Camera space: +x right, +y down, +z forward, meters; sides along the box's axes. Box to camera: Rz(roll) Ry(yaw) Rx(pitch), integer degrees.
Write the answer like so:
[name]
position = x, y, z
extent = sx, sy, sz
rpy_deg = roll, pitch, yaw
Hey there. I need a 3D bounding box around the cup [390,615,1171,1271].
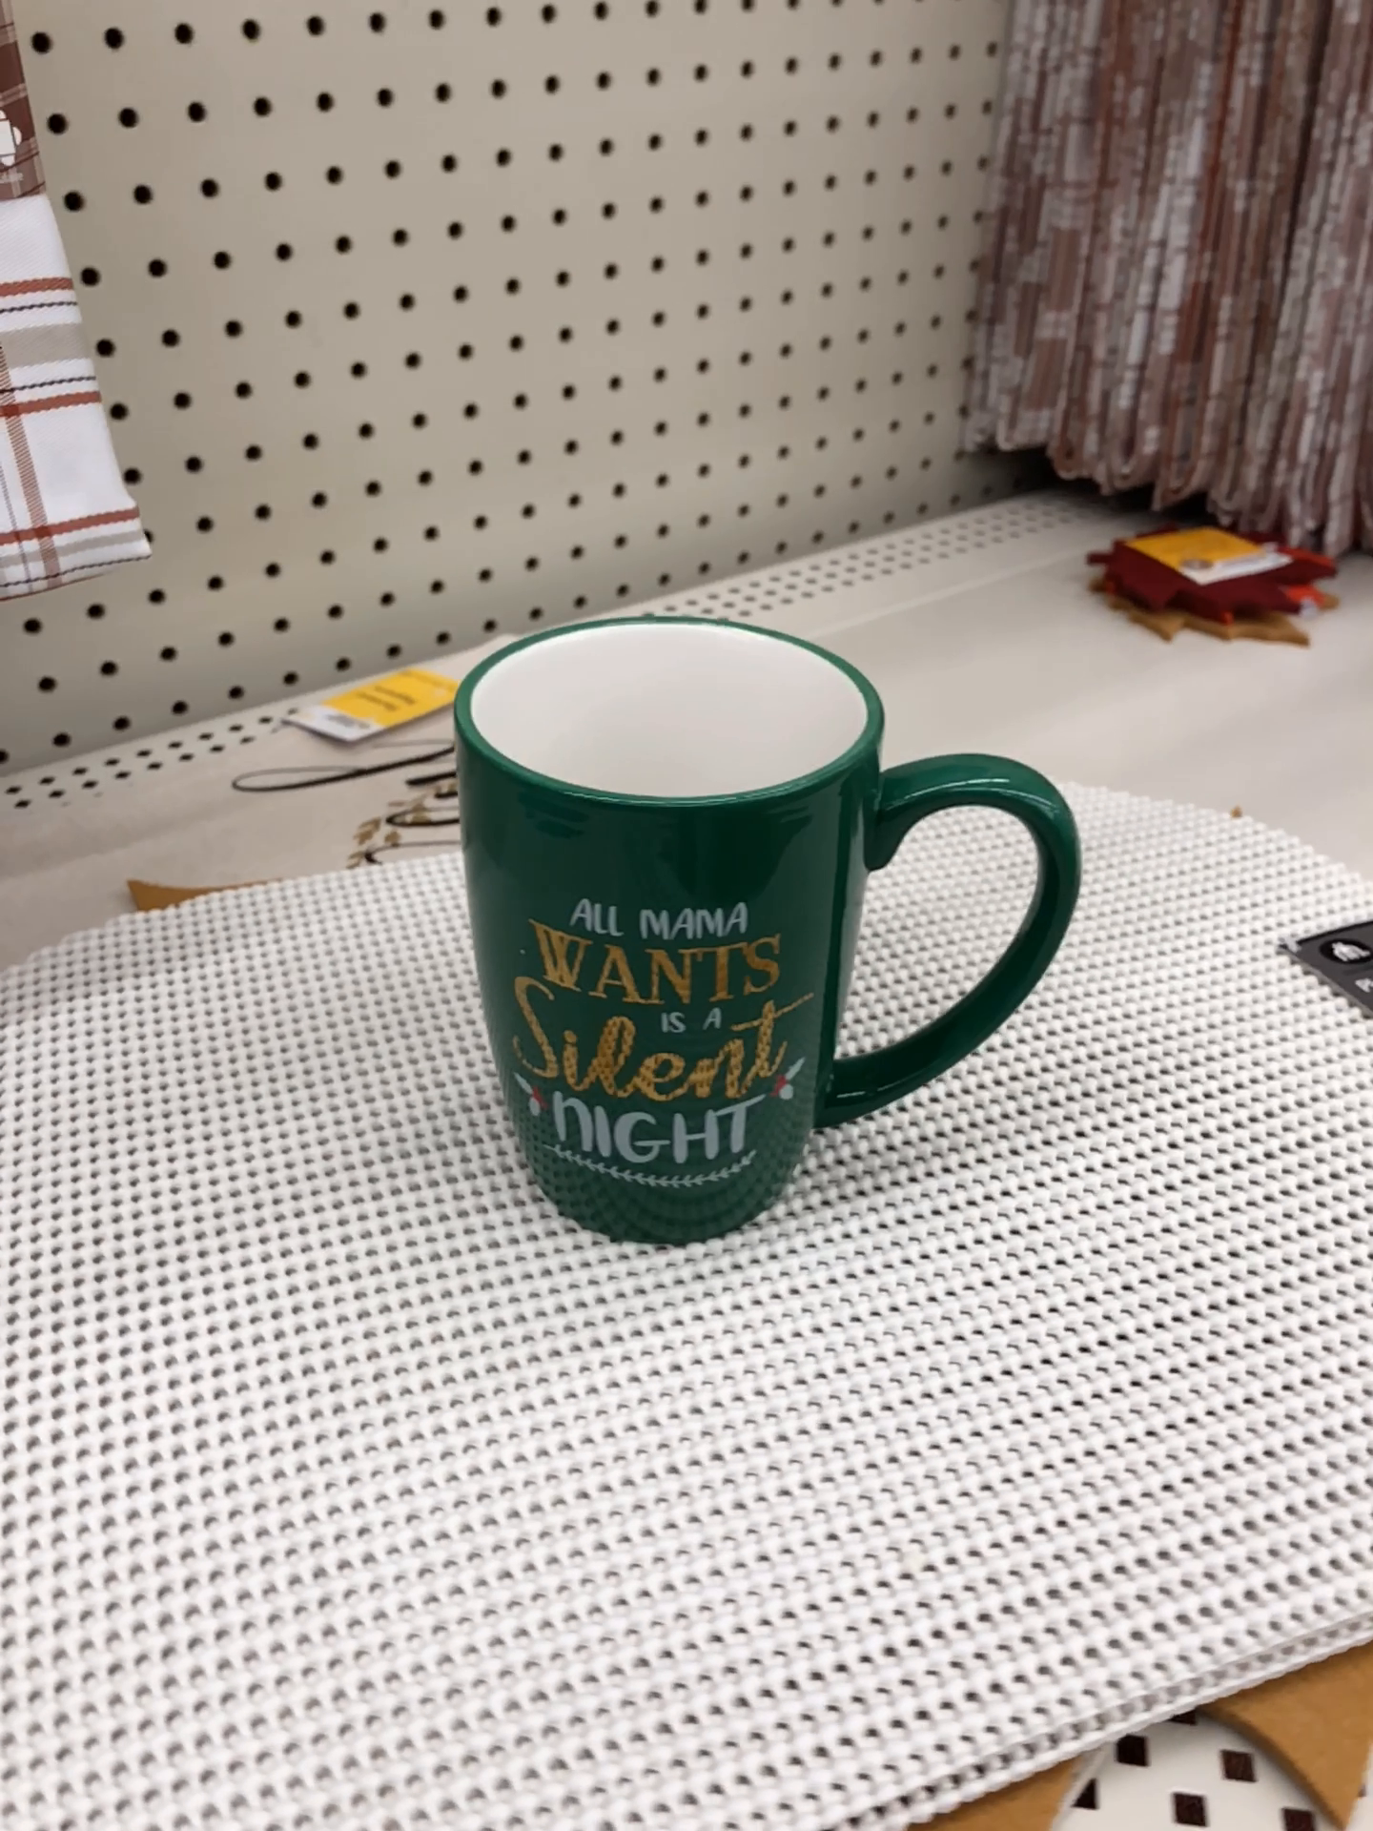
[cup]
position = 0.019, 0.003, 0.347
extent = 0.140, 0.110, 0.100
rpy_deg = 0, 33, 3
